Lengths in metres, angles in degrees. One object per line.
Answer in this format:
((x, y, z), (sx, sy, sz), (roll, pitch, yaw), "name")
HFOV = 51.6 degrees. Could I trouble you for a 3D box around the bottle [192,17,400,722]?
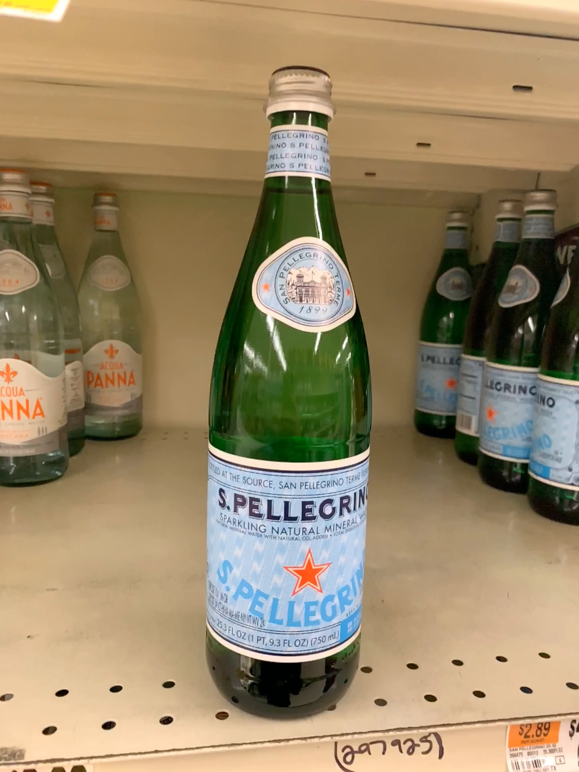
((-0.003, 0.004, 0.286), (0.078, 0.301, 0.065), (1, 11, -3), "bottle")
